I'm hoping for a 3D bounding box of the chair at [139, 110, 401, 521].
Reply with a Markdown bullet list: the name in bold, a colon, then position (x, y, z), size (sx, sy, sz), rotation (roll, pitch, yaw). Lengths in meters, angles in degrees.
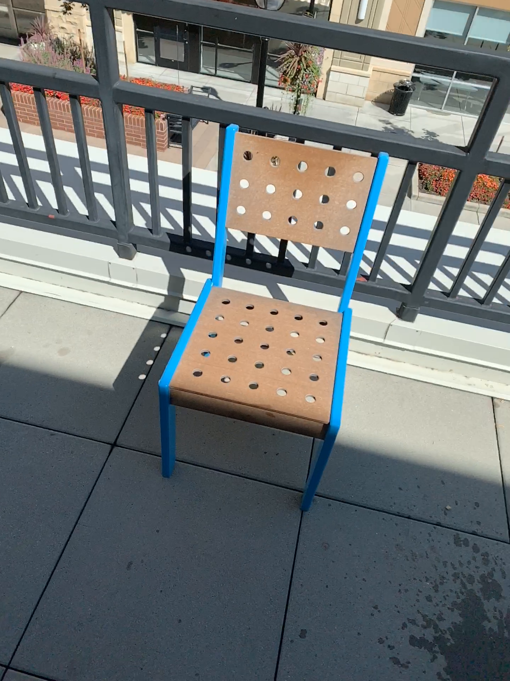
- **chair**: position (0.048, -0.049, 1.469), size (0.470, 0.856, 0.673), rotation (12, 46, 5)
